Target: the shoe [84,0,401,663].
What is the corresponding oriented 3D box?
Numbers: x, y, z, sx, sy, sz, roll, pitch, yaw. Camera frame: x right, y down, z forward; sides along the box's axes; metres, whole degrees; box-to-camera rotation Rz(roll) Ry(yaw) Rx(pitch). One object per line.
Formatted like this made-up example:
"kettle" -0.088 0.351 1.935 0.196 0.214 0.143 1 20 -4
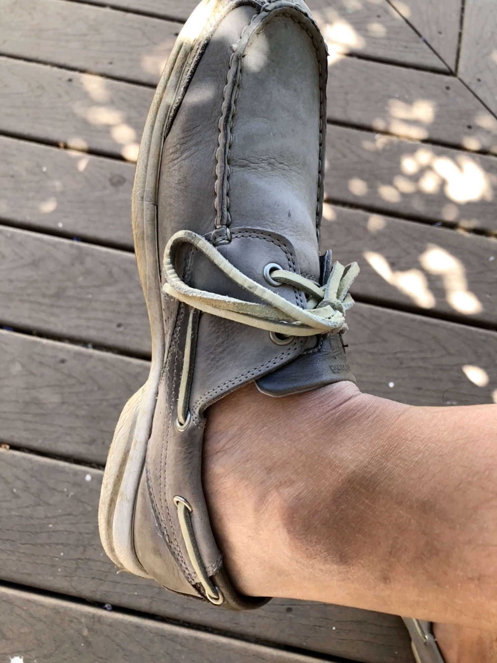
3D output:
"shoe" 0.002 -0.011 0.285 0.083 0.116 0.326 6 93 36
